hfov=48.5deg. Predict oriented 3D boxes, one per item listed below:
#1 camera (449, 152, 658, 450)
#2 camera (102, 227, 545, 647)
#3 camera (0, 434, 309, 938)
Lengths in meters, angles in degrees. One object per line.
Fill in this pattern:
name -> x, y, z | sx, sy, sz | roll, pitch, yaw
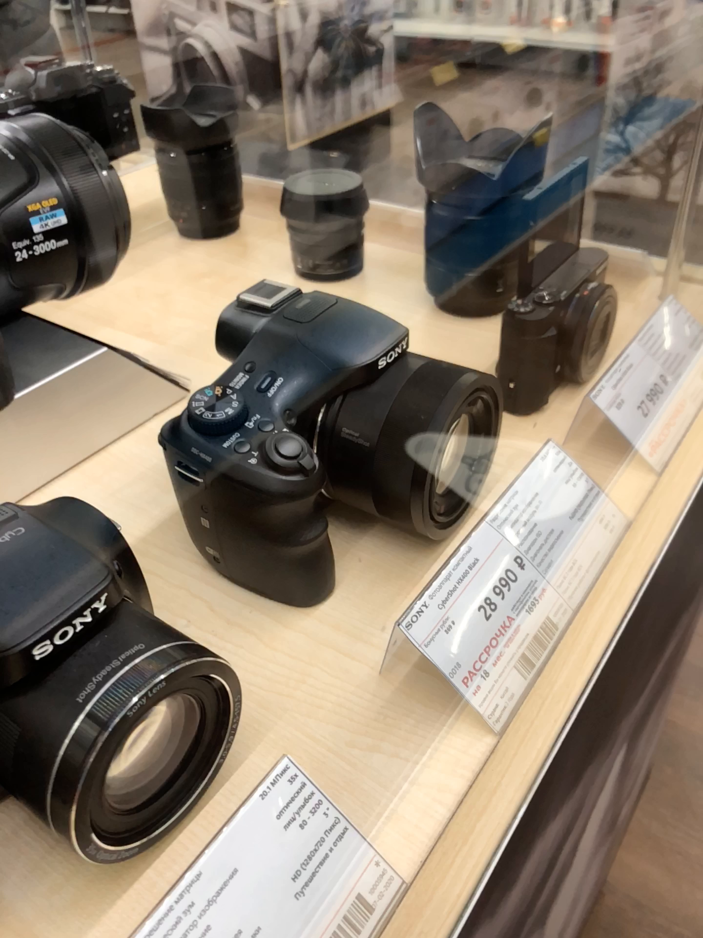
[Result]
camera -> 0.110, -0.096, 0.430 | 0.056, 0.113, 0.125 | 20, 43, 28
camera -> -0.003, -0.024, 0.315 | 0.104, 0.086, 0.138 | 20, 43, 28
camera -> -0.090, 0.064, 0.225 | 0.096, 0.073, 0.122 | 20, 43, 28
